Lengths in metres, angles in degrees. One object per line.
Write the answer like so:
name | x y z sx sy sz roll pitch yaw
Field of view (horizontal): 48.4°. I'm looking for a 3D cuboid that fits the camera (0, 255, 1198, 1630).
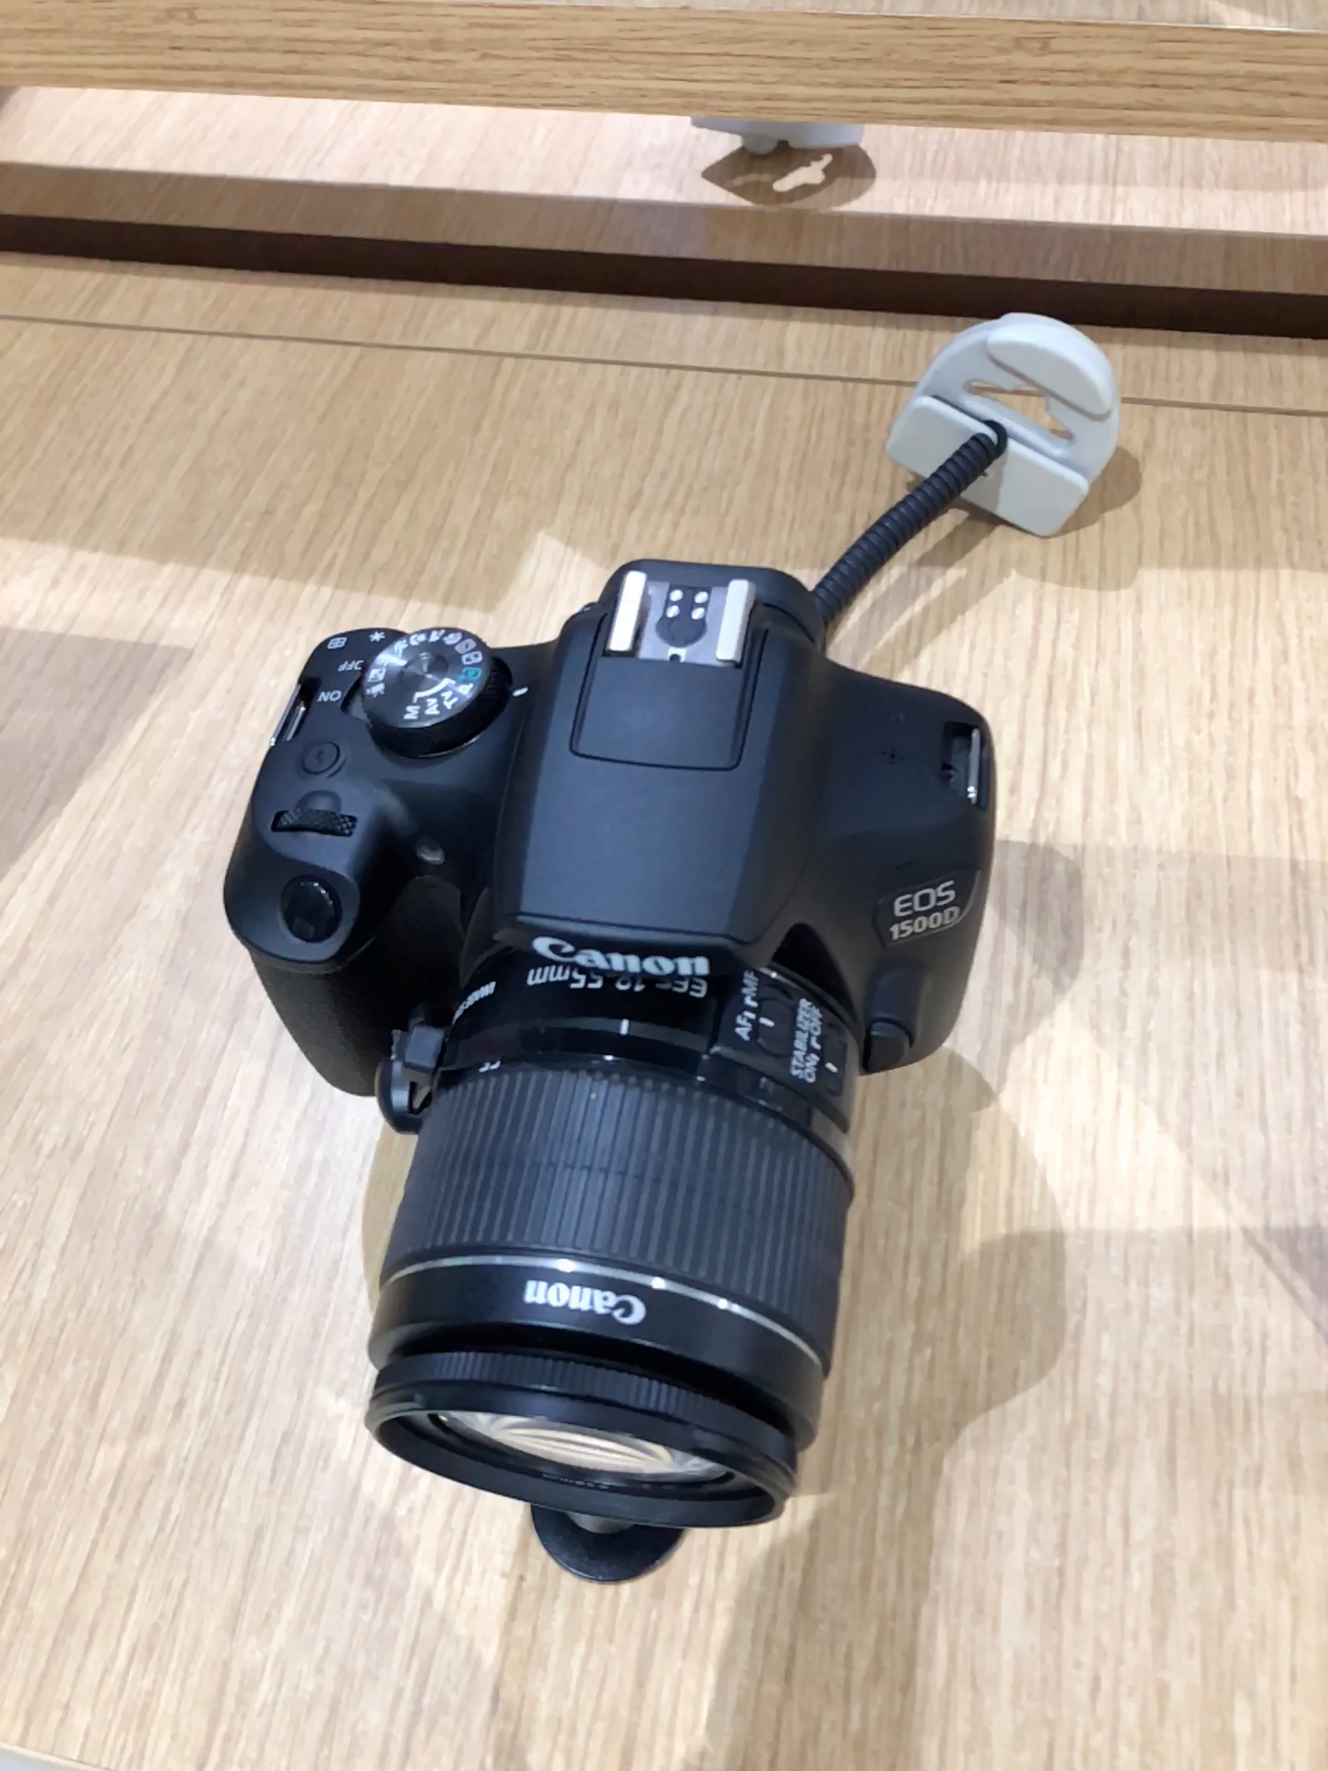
camera | -0.005 -0.002 0.240 0.140 0.100 0.191 4 54 7
